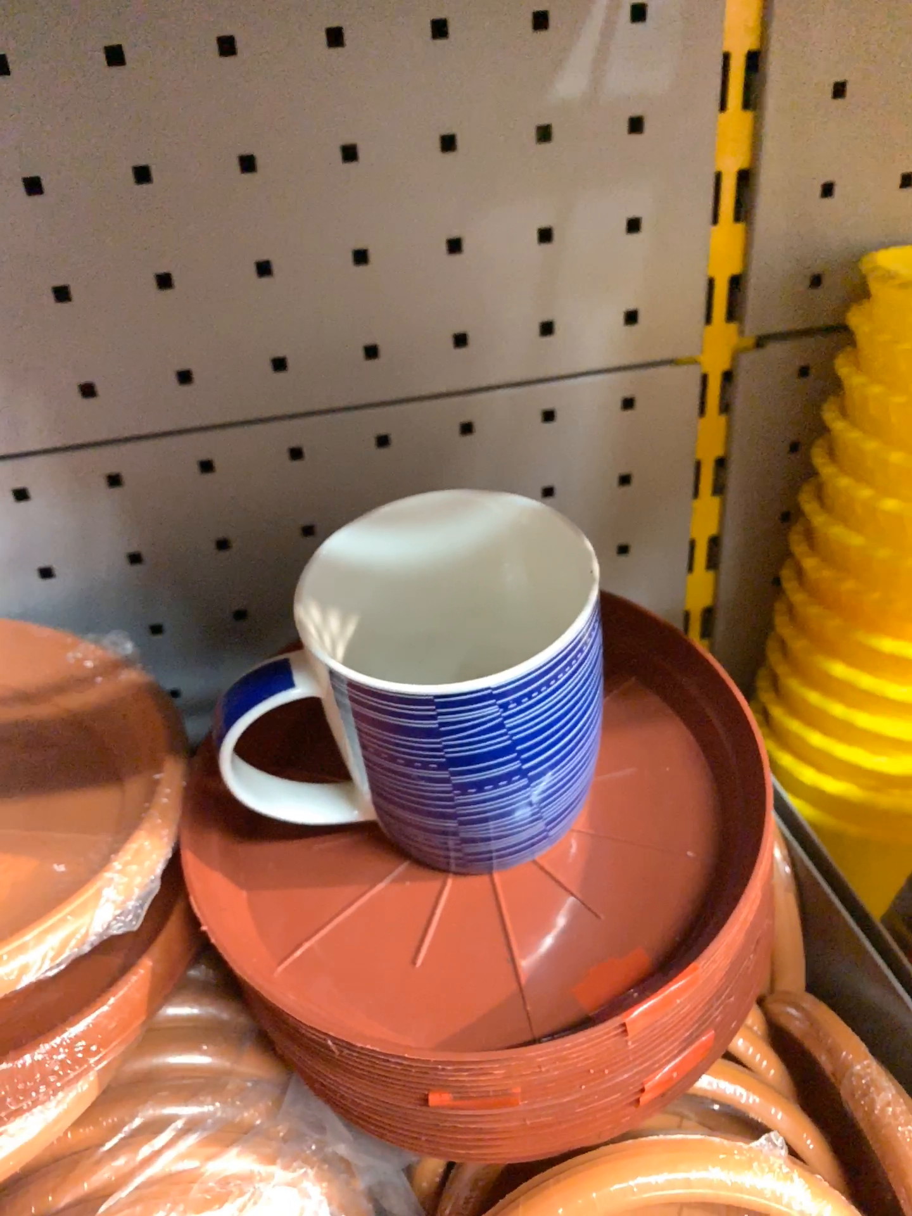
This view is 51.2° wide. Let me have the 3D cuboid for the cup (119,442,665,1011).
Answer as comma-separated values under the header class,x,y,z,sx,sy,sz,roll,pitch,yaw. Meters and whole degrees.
class,x,y,z,sx,sy,sz,roll,pitch,yaw
cup,-0.018,0.030,0.304,0.130,0.100,0.100,-22,40,-16
